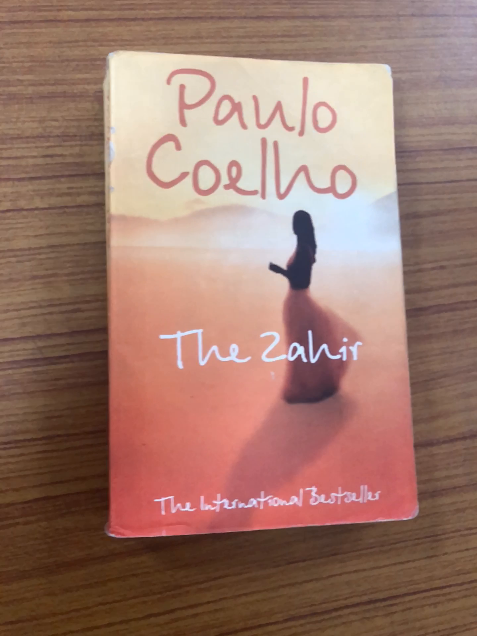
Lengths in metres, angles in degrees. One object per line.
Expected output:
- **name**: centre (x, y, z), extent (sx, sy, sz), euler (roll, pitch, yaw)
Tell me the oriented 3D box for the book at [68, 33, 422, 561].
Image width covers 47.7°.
- **book**: centre (0.000, -0.010, 0.211), extent (0.120, 0.040, 0.180), euler (0, 83, -9)
